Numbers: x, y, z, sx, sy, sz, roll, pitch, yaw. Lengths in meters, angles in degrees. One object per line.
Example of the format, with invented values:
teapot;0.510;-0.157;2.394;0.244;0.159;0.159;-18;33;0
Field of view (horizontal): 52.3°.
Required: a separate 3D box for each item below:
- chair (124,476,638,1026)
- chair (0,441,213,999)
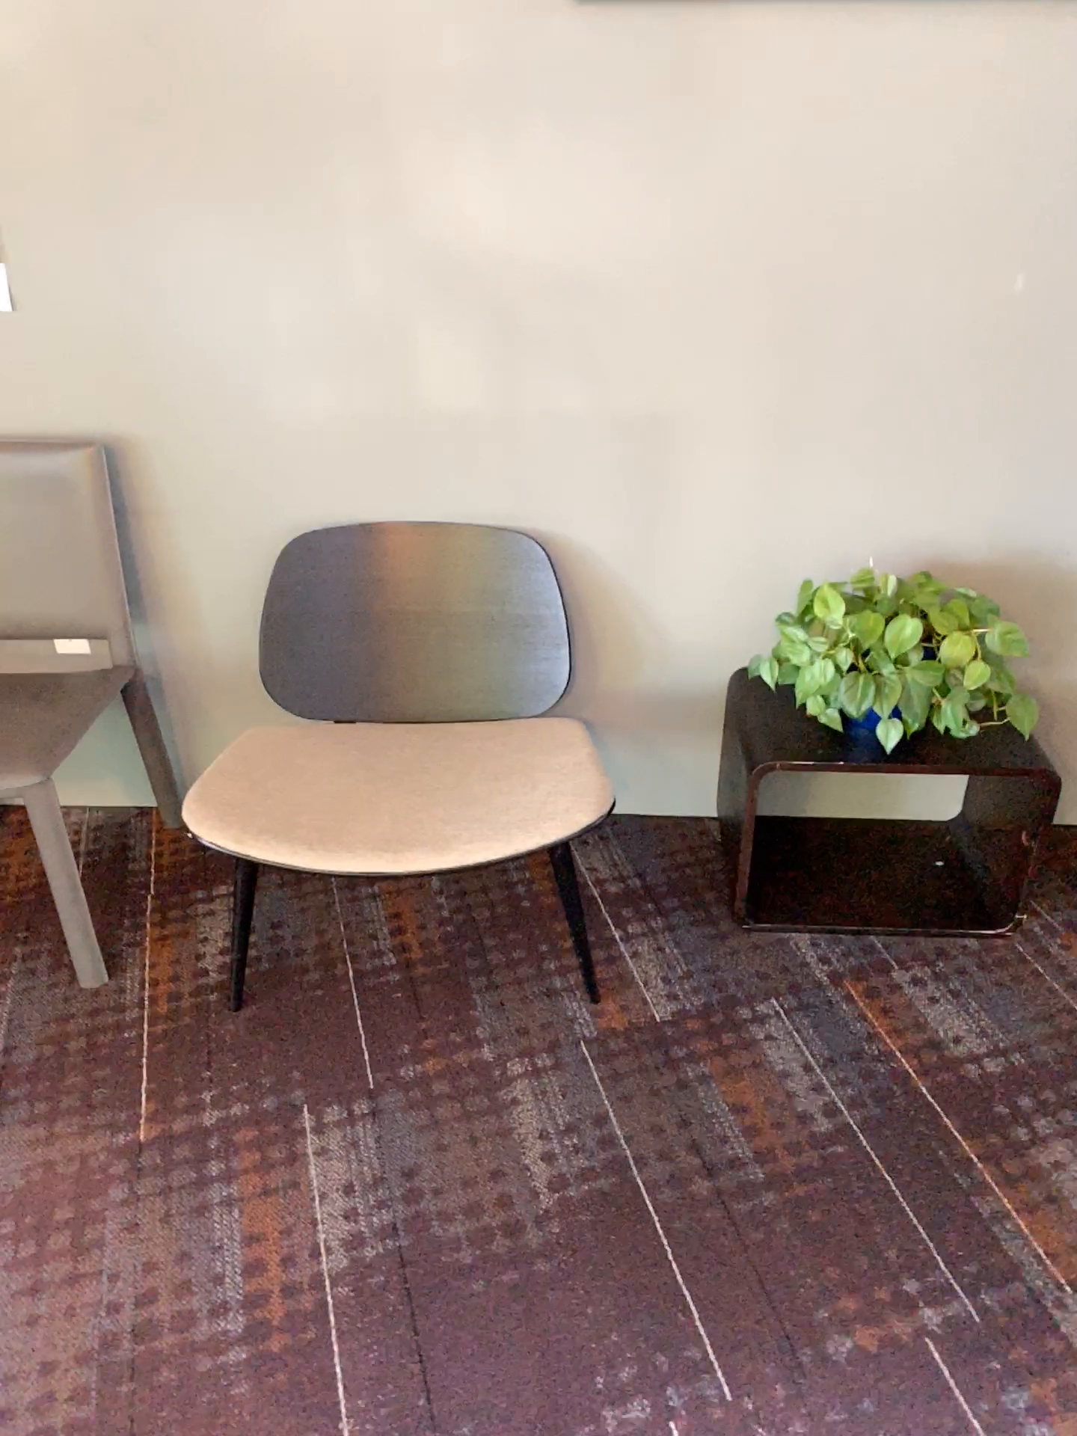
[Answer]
chair;-0.245;0.041;2.204;0.790;0.835;0.714;-1;31;-1
chair;-1.103;-0.019;2.139;0.640;0.835;0.694;-1;31;-1
